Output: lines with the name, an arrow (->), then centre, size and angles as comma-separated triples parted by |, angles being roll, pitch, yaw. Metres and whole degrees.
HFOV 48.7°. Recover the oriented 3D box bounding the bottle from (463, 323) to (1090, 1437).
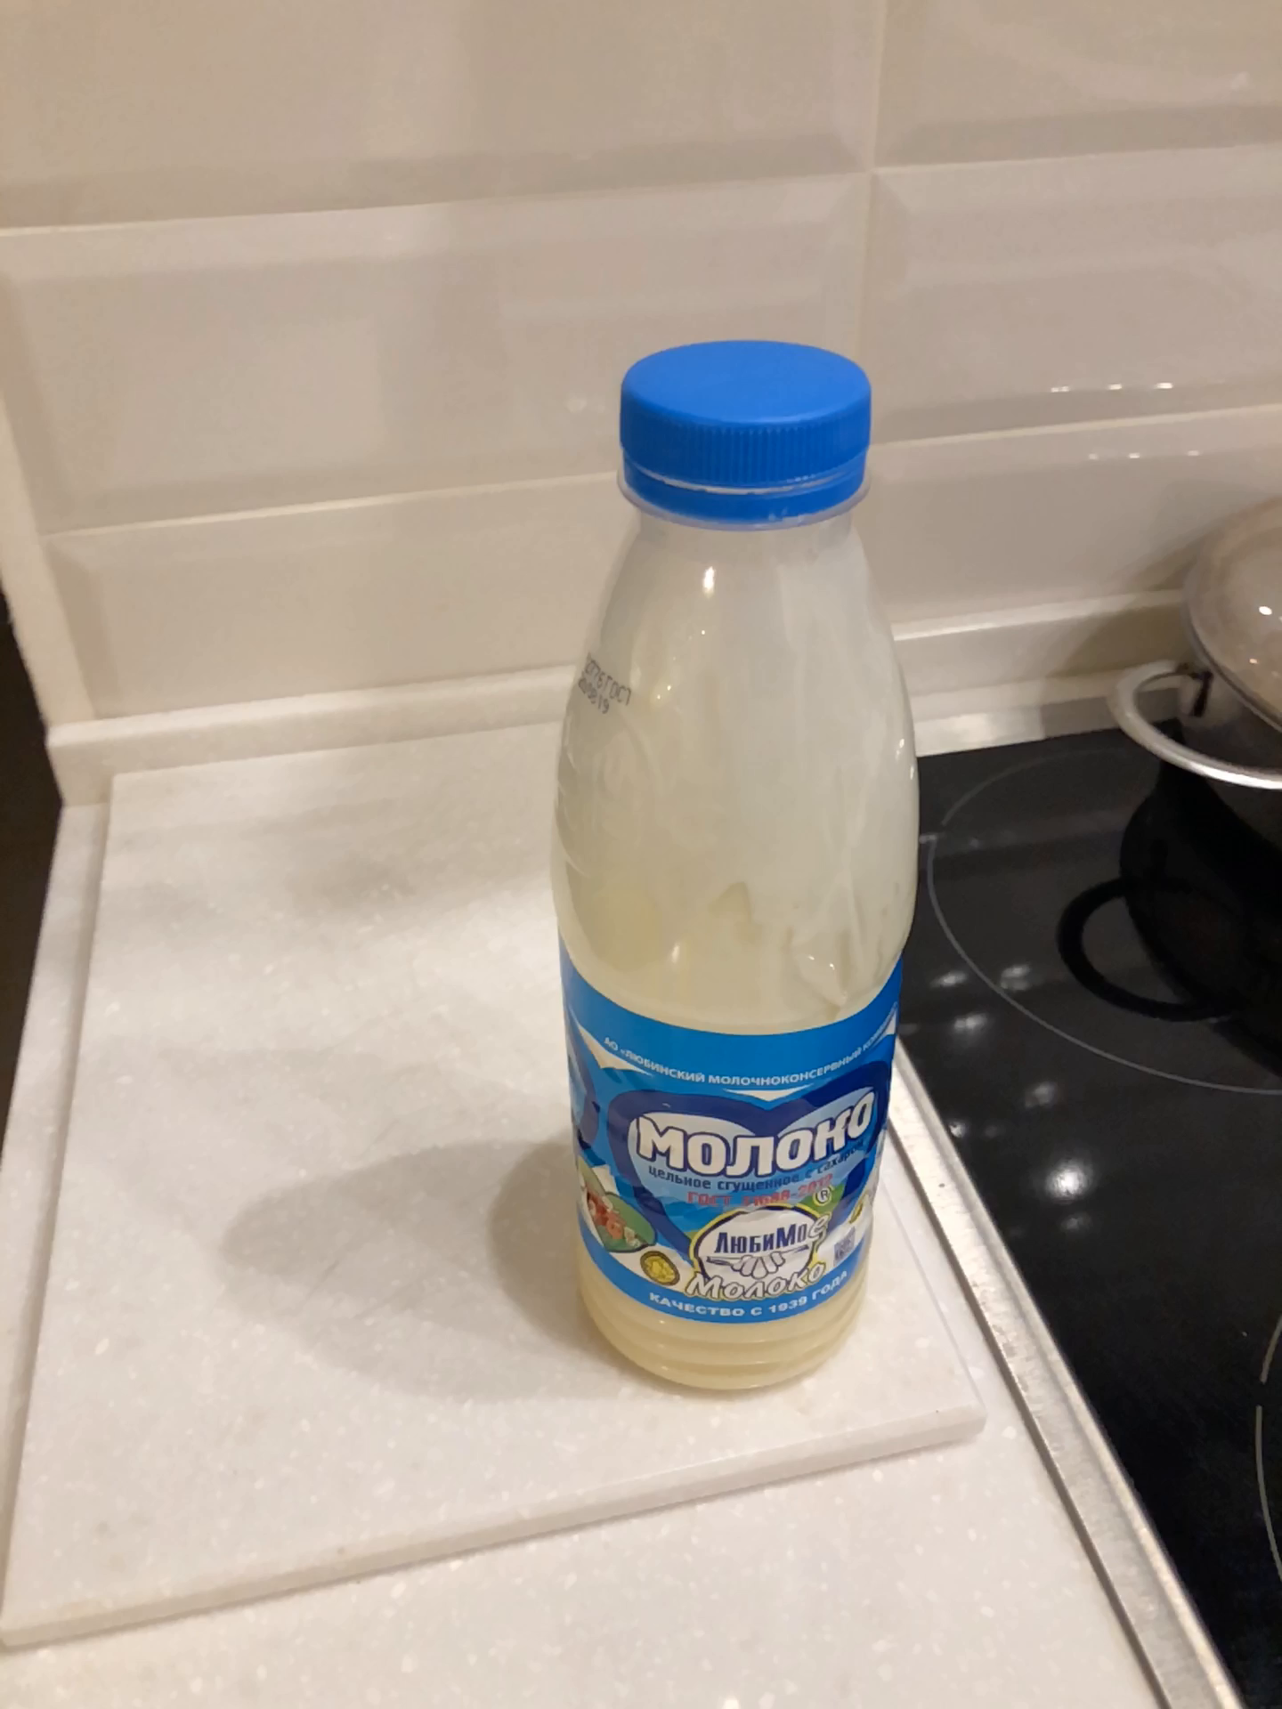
bottle -> 0.017, 0.015, 0.289 | 0.080, 0.213, 0.081 | 0, 37, 0
